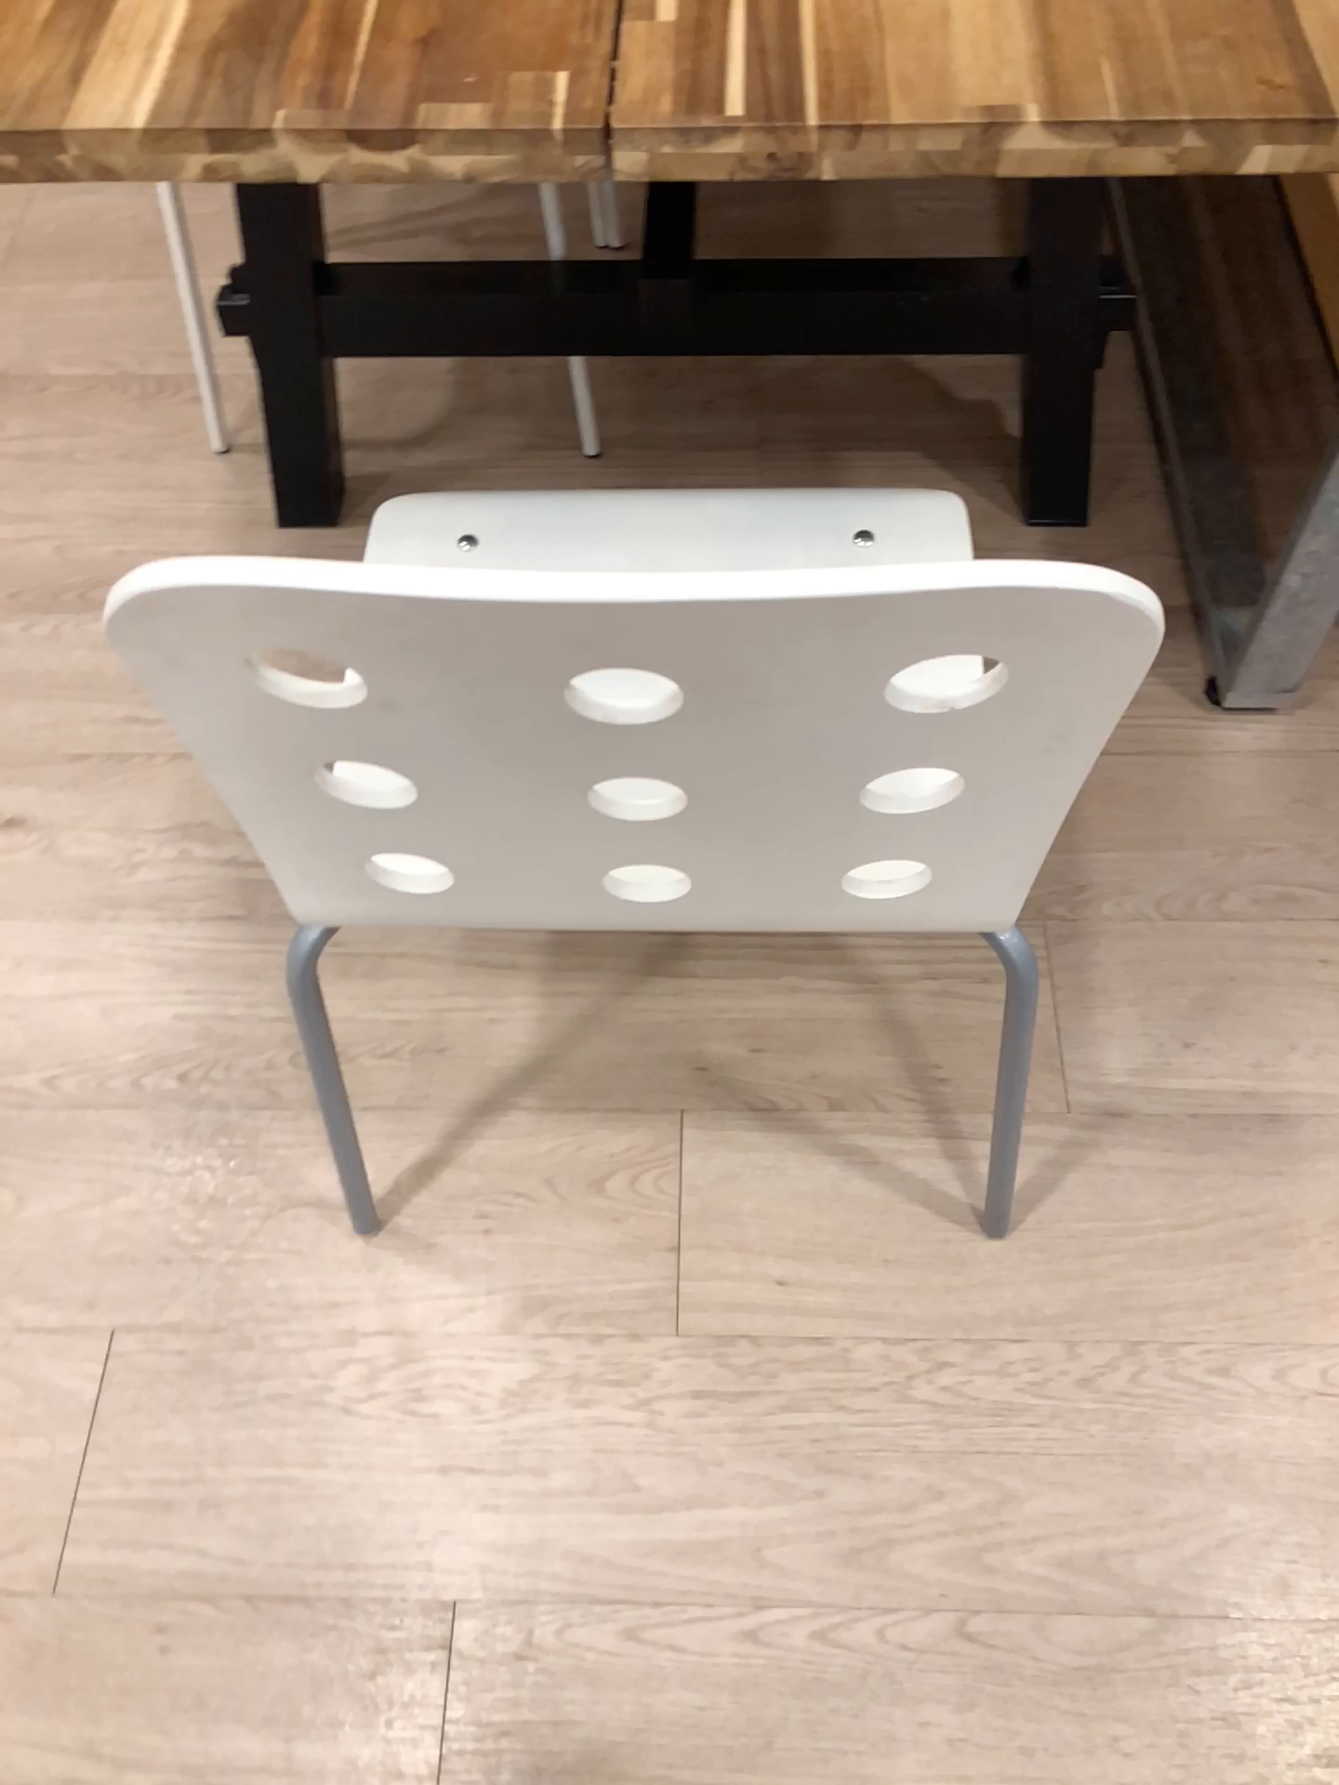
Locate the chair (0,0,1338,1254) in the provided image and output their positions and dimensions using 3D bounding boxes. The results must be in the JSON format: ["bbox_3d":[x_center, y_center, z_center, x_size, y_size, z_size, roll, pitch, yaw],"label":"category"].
[{"bbox_3d":[0.011,-0.125,0.962,0.570,0.716,0.492,-2,58,1],"label":"chair"}]
